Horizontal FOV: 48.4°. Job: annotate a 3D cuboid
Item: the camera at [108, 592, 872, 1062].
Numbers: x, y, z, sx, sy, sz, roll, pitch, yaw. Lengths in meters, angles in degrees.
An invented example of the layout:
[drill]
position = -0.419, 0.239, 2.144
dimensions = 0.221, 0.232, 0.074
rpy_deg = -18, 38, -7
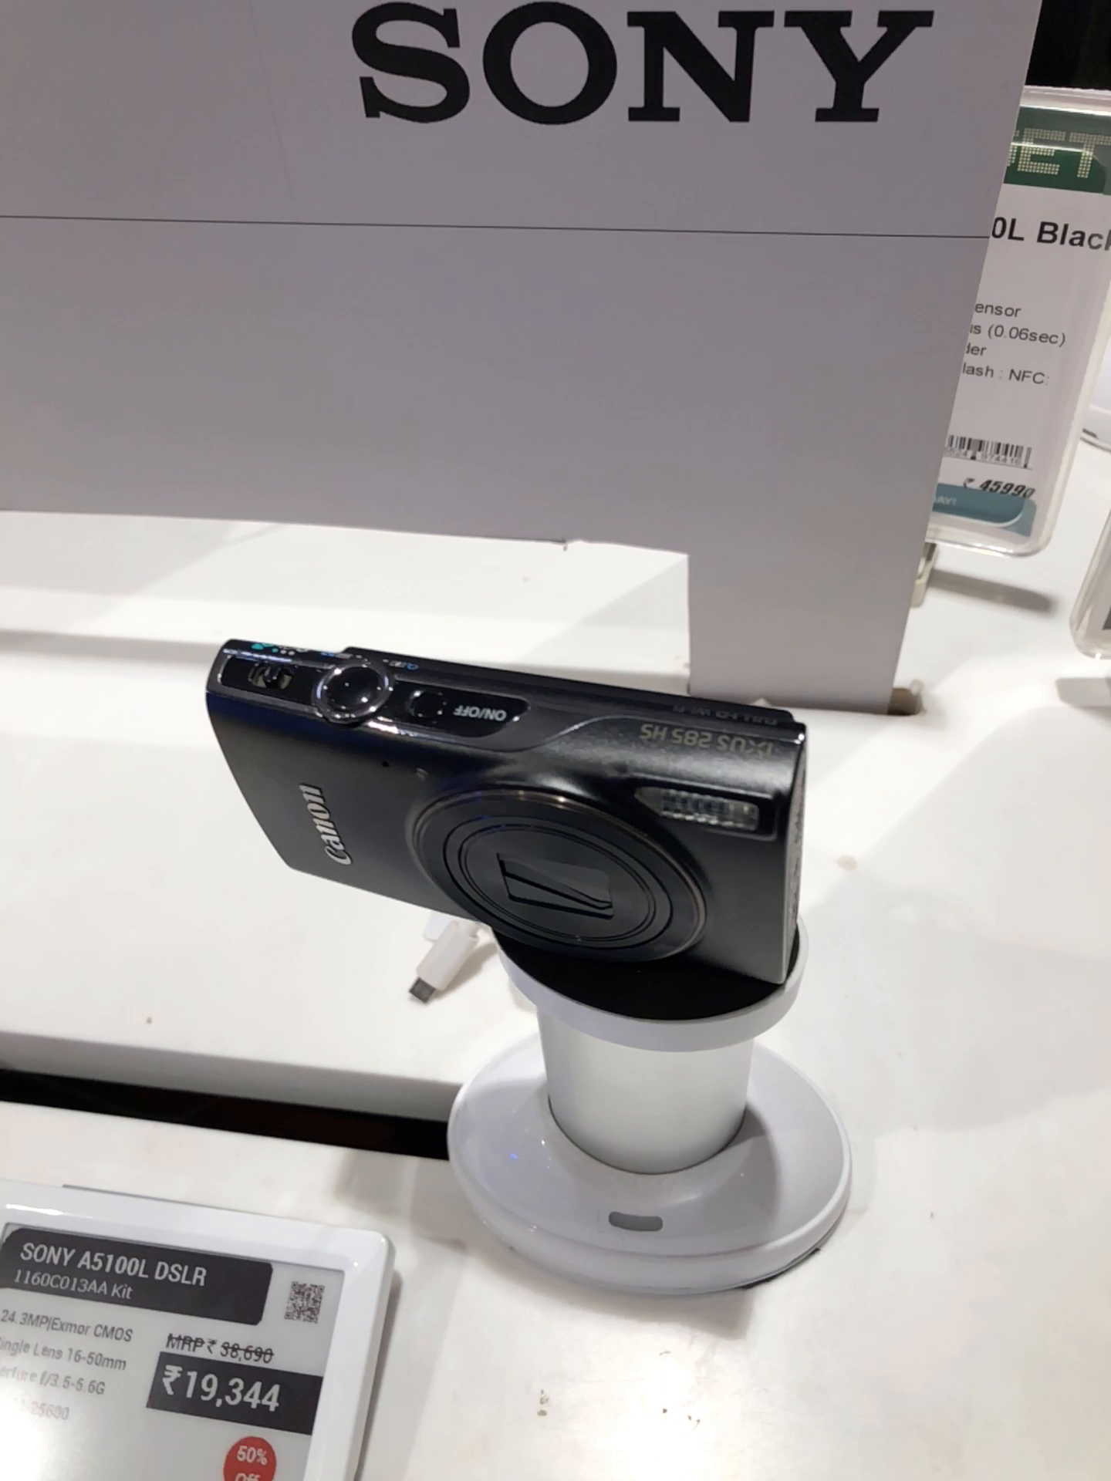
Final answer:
[camera]
position = -0.009, 0.015, 0.207
dimensions = 0.110, 0.060, 0.030
rpy_deg = 10, 52, 12
